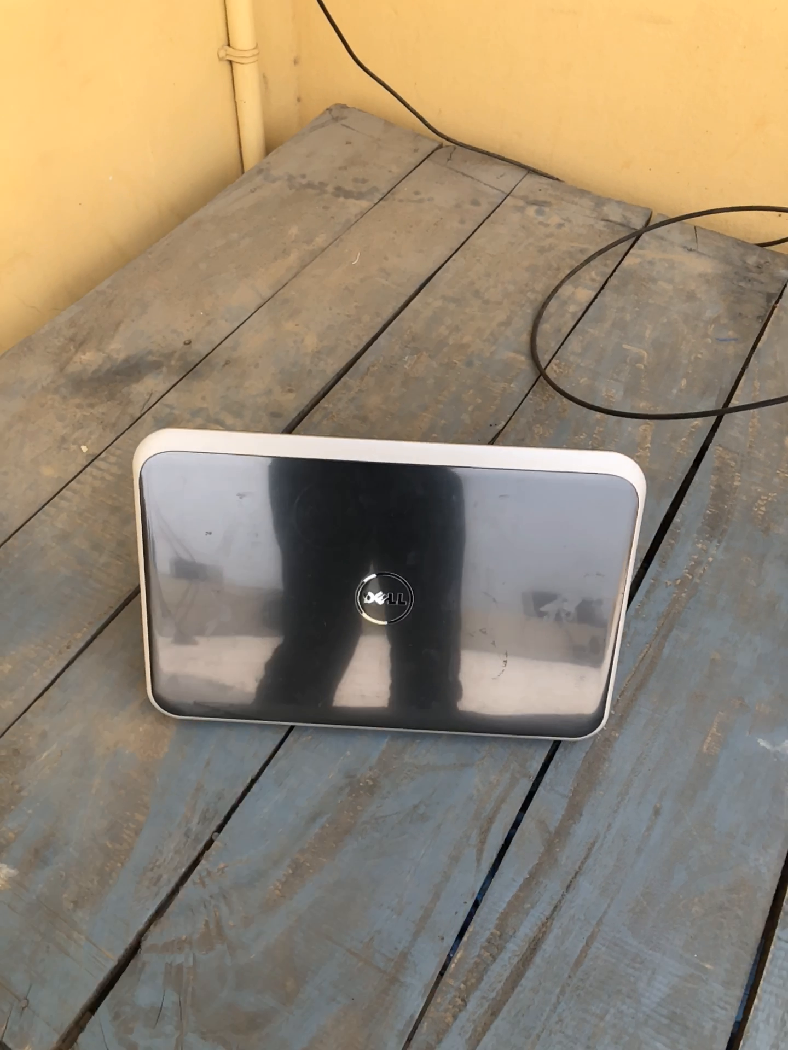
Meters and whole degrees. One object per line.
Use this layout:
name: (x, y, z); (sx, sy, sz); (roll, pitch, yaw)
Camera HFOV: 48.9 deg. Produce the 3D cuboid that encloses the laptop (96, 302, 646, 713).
laptop: (-0.010, -0.010, 0.687); (0.347, 0.206, 0.217); (3, 53, 1)
